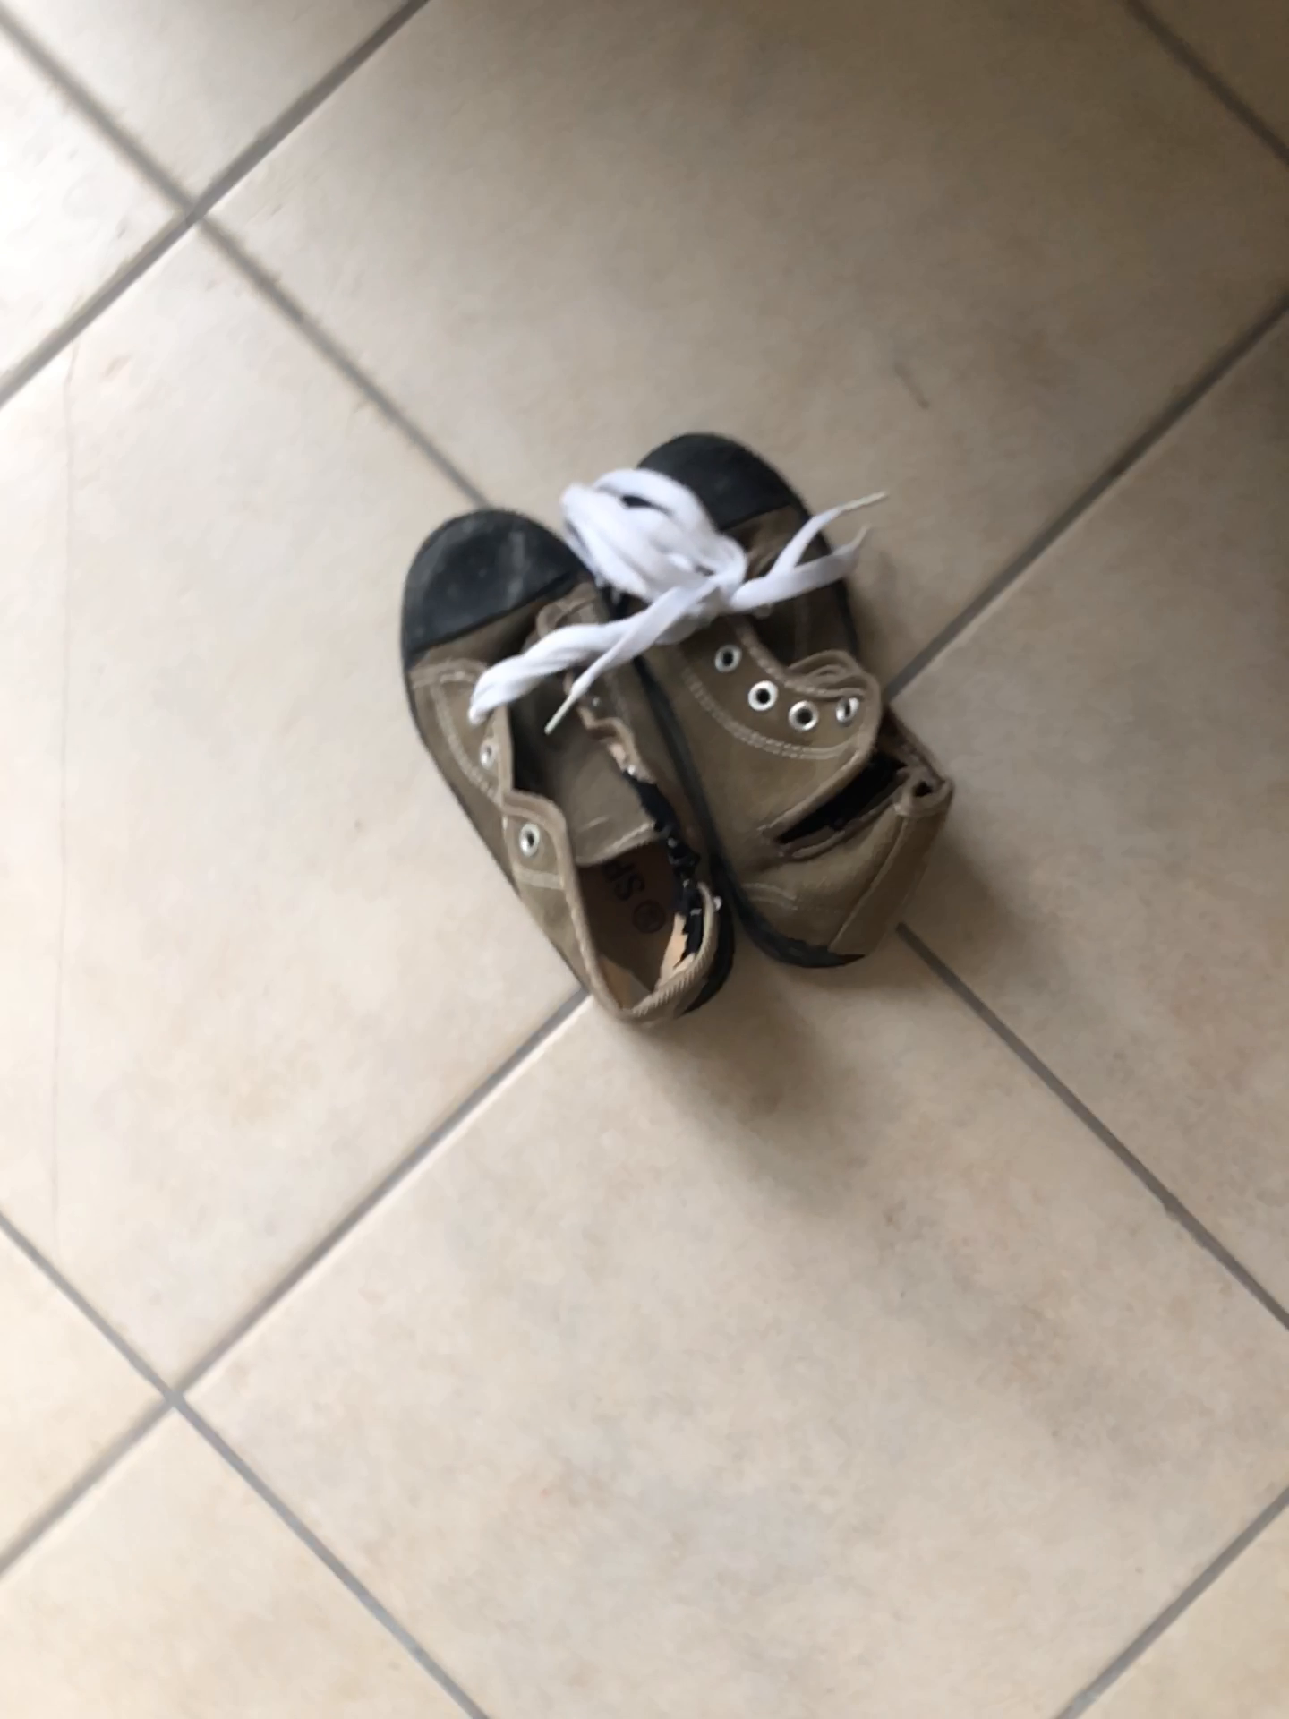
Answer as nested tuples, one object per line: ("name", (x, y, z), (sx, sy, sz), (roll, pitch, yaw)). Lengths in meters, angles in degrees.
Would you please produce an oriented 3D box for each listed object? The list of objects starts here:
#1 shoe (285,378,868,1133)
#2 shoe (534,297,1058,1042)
("shoe", (-0.020, -0.029, 0.459), (0.080, 0.110, 0.200), (-28, 88, -1))
("shoe", (0.043, -0.054, 0.467), (0.080, 0.110, 0.200), (-22, 88, -1))
